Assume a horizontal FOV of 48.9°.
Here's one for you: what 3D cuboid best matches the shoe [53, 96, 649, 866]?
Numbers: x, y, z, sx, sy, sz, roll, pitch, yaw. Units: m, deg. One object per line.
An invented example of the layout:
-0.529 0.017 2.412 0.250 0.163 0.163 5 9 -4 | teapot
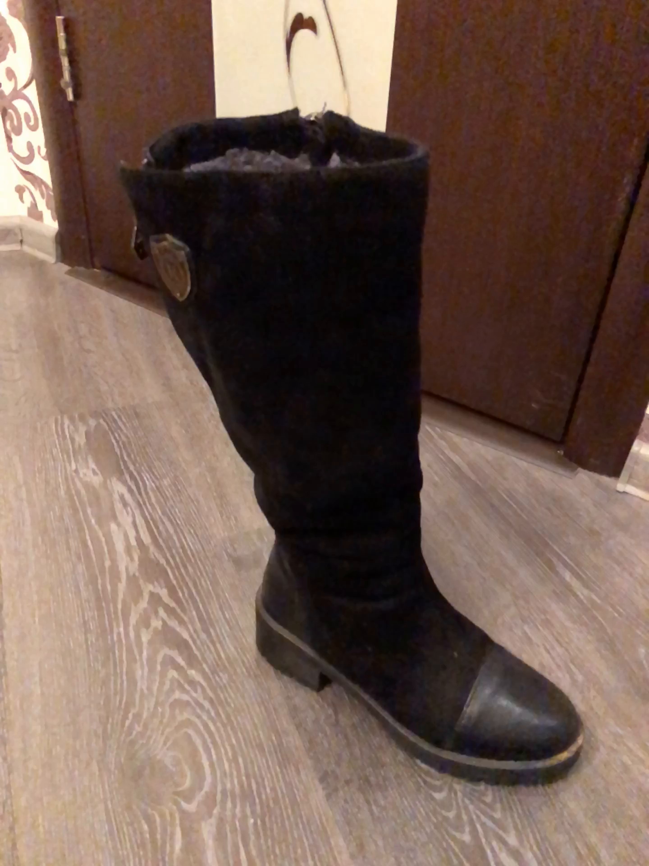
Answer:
0.032 0.036 0.396 0.290 0.358 0.121 19 38 22 | shoe
